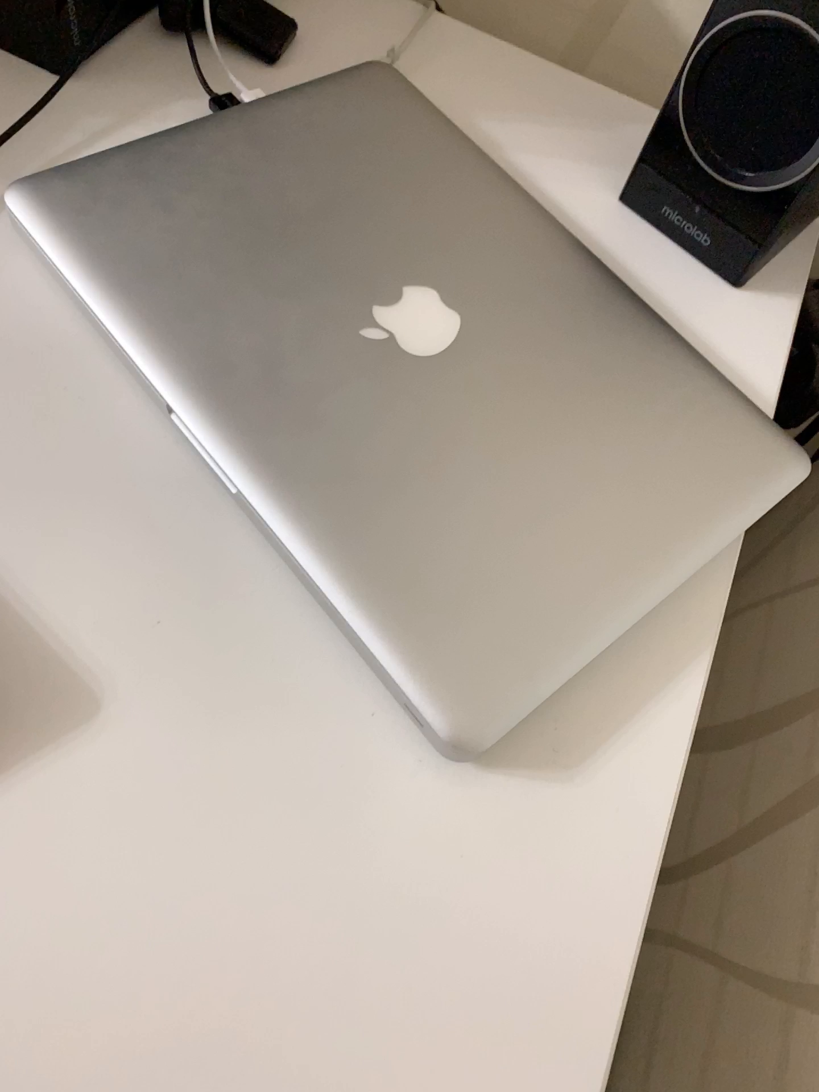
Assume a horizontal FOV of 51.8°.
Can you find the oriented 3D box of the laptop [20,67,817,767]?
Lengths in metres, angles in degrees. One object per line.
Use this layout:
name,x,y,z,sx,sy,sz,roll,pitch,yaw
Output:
laptop,0.007,-0.091,0.381,0.218,0.007,0.305,-34,75,-24
